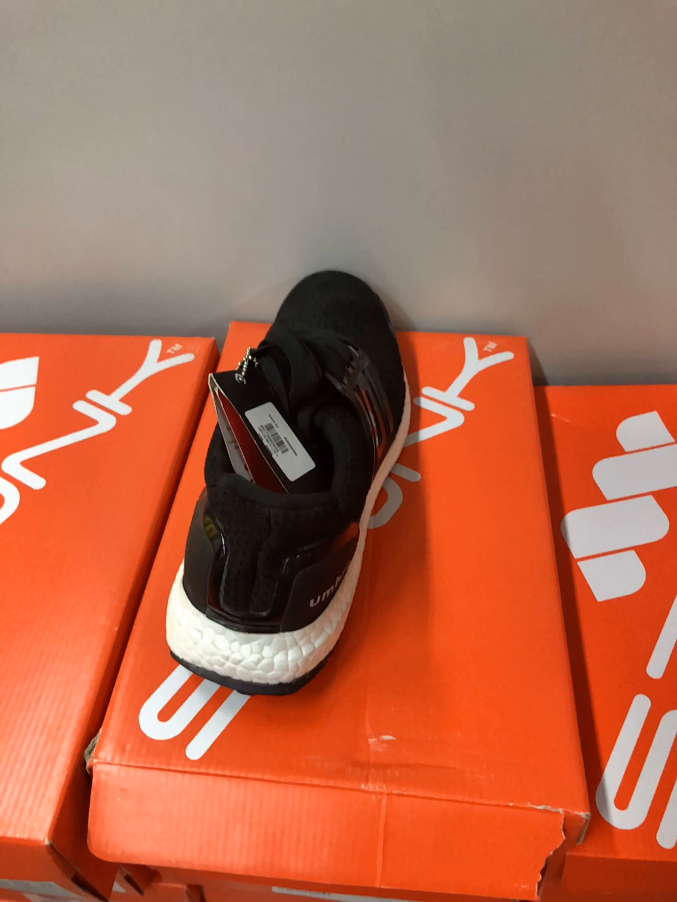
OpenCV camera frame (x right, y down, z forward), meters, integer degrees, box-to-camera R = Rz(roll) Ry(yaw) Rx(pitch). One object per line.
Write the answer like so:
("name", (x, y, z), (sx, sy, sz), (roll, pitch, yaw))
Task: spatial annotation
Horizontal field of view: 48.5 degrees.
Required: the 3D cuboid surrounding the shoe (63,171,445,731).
("shoe", (-0.020, -0.021, 0.415), (0.117, 0.120, 0.291), (9, 49, 6))
